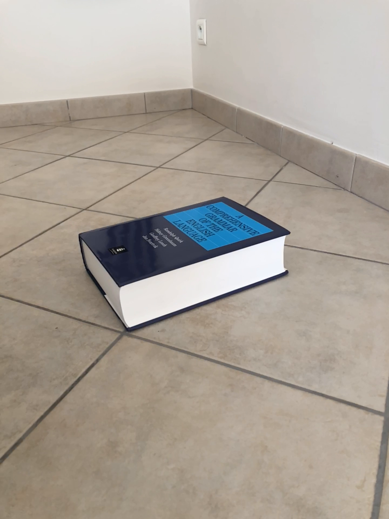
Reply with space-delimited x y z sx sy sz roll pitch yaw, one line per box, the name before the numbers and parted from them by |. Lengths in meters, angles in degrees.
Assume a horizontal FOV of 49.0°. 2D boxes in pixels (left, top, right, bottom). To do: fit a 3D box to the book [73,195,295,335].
book | -0.018 -0.010 0.615 0.257 0.066 0.181 -17 31 -25
